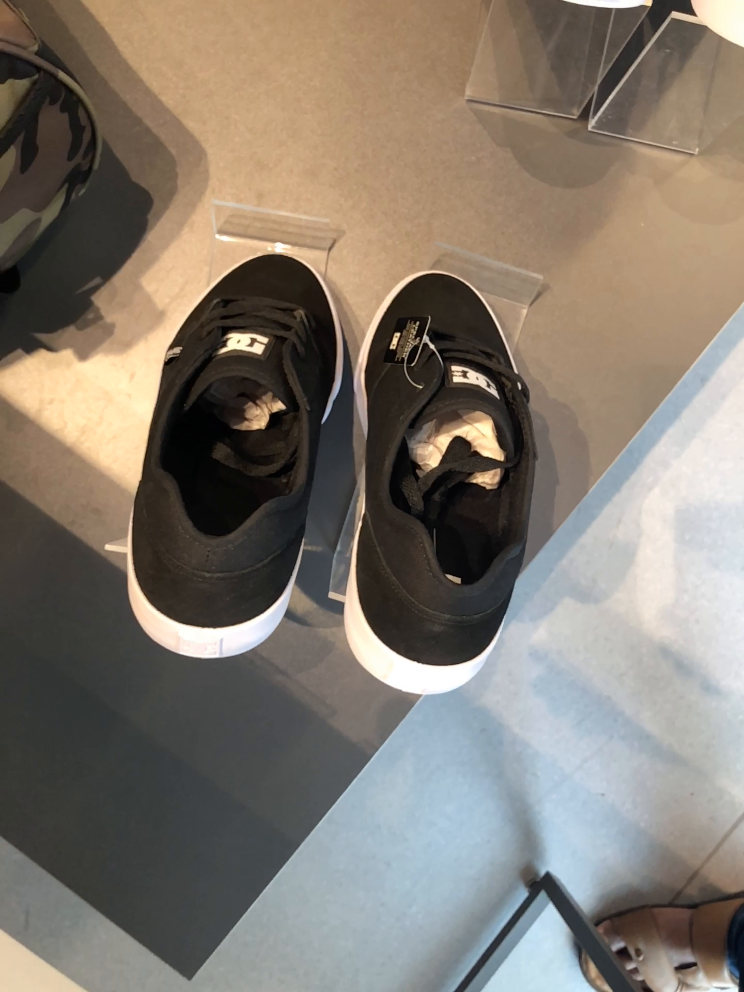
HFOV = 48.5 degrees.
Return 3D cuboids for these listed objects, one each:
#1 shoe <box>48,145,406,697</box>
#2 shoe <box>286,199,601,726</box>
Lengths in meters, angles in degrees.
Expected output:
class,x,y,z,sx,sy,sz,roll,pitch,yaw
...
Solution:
class,x,y,z,sx,sy,sz,roll,pitch,yaw
shoe,-0.056,-0.042,0.392,0.106,0.107,0.229,11,54,-6
shoe,0.036,-0.022,0.416,0.106,0.107,0.229,13,54,-7
